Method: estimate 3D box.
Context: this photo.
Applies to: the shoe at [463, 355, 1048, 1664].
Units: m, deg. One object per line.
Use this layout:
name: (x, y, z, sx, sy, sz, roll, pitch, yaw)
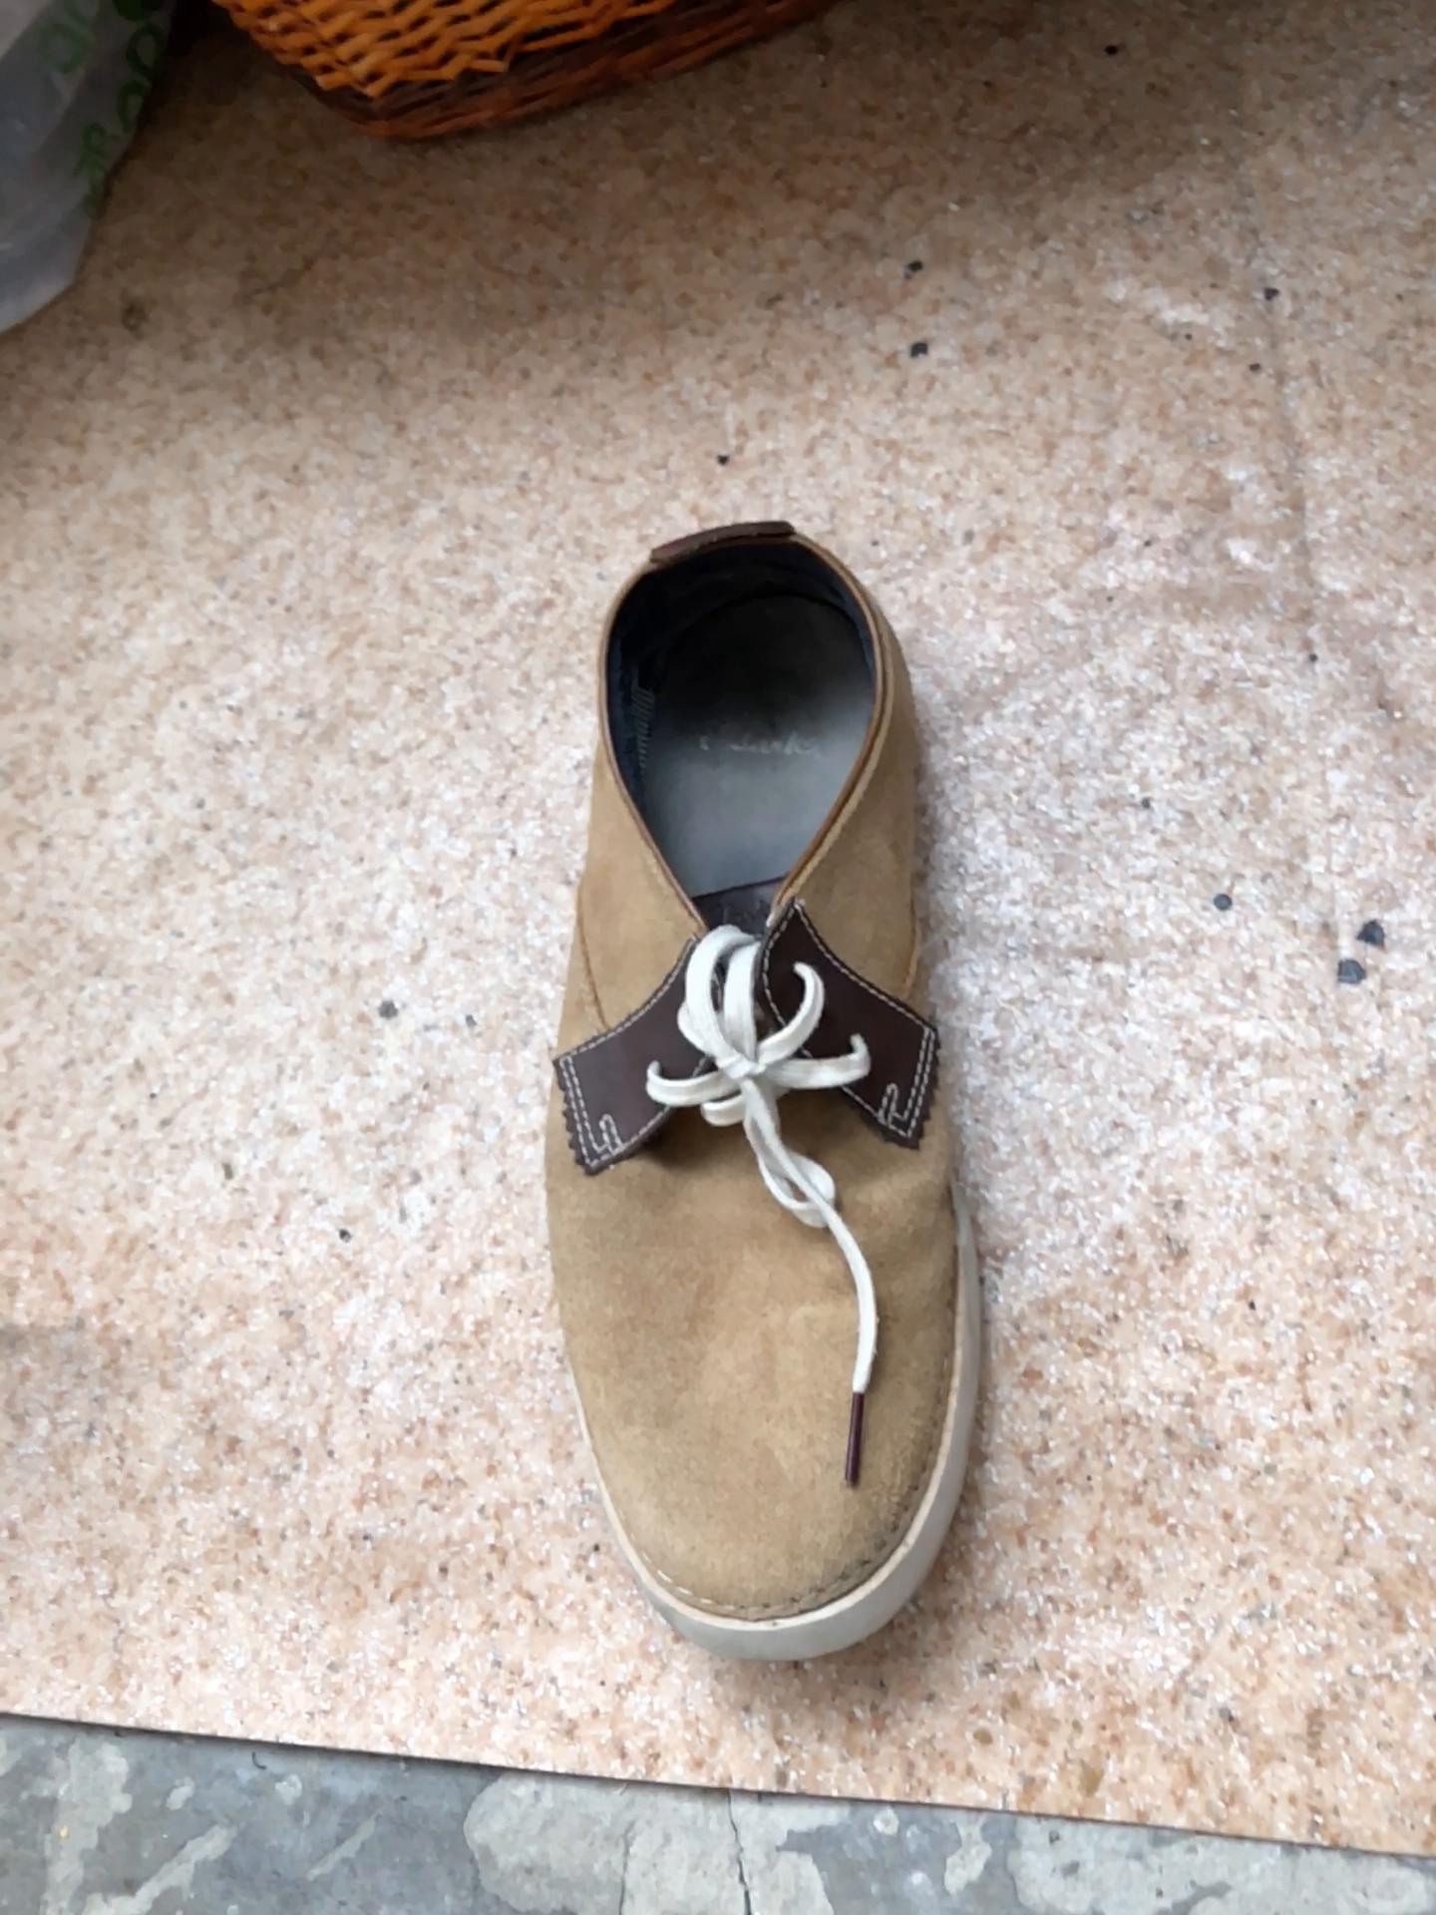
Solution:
shoe: (0.016, 0.009, 0.401, 0.110, 0.090, 0.301, -4, 69, 15)
